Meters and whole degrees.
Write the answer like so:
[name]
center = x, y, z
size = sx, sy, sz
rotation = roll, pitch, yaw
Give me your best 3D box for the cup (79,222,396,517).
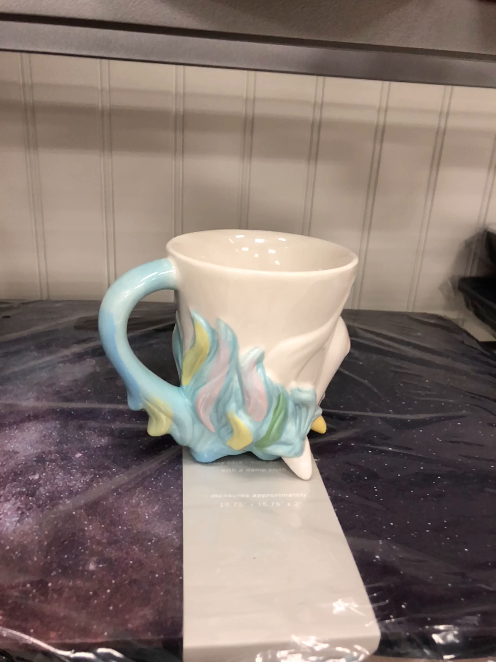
[cup]
center = -0.015, 0.010, 0.305
size = 0.140, 0.118, 0.101
rotation = -4, 23, -18
